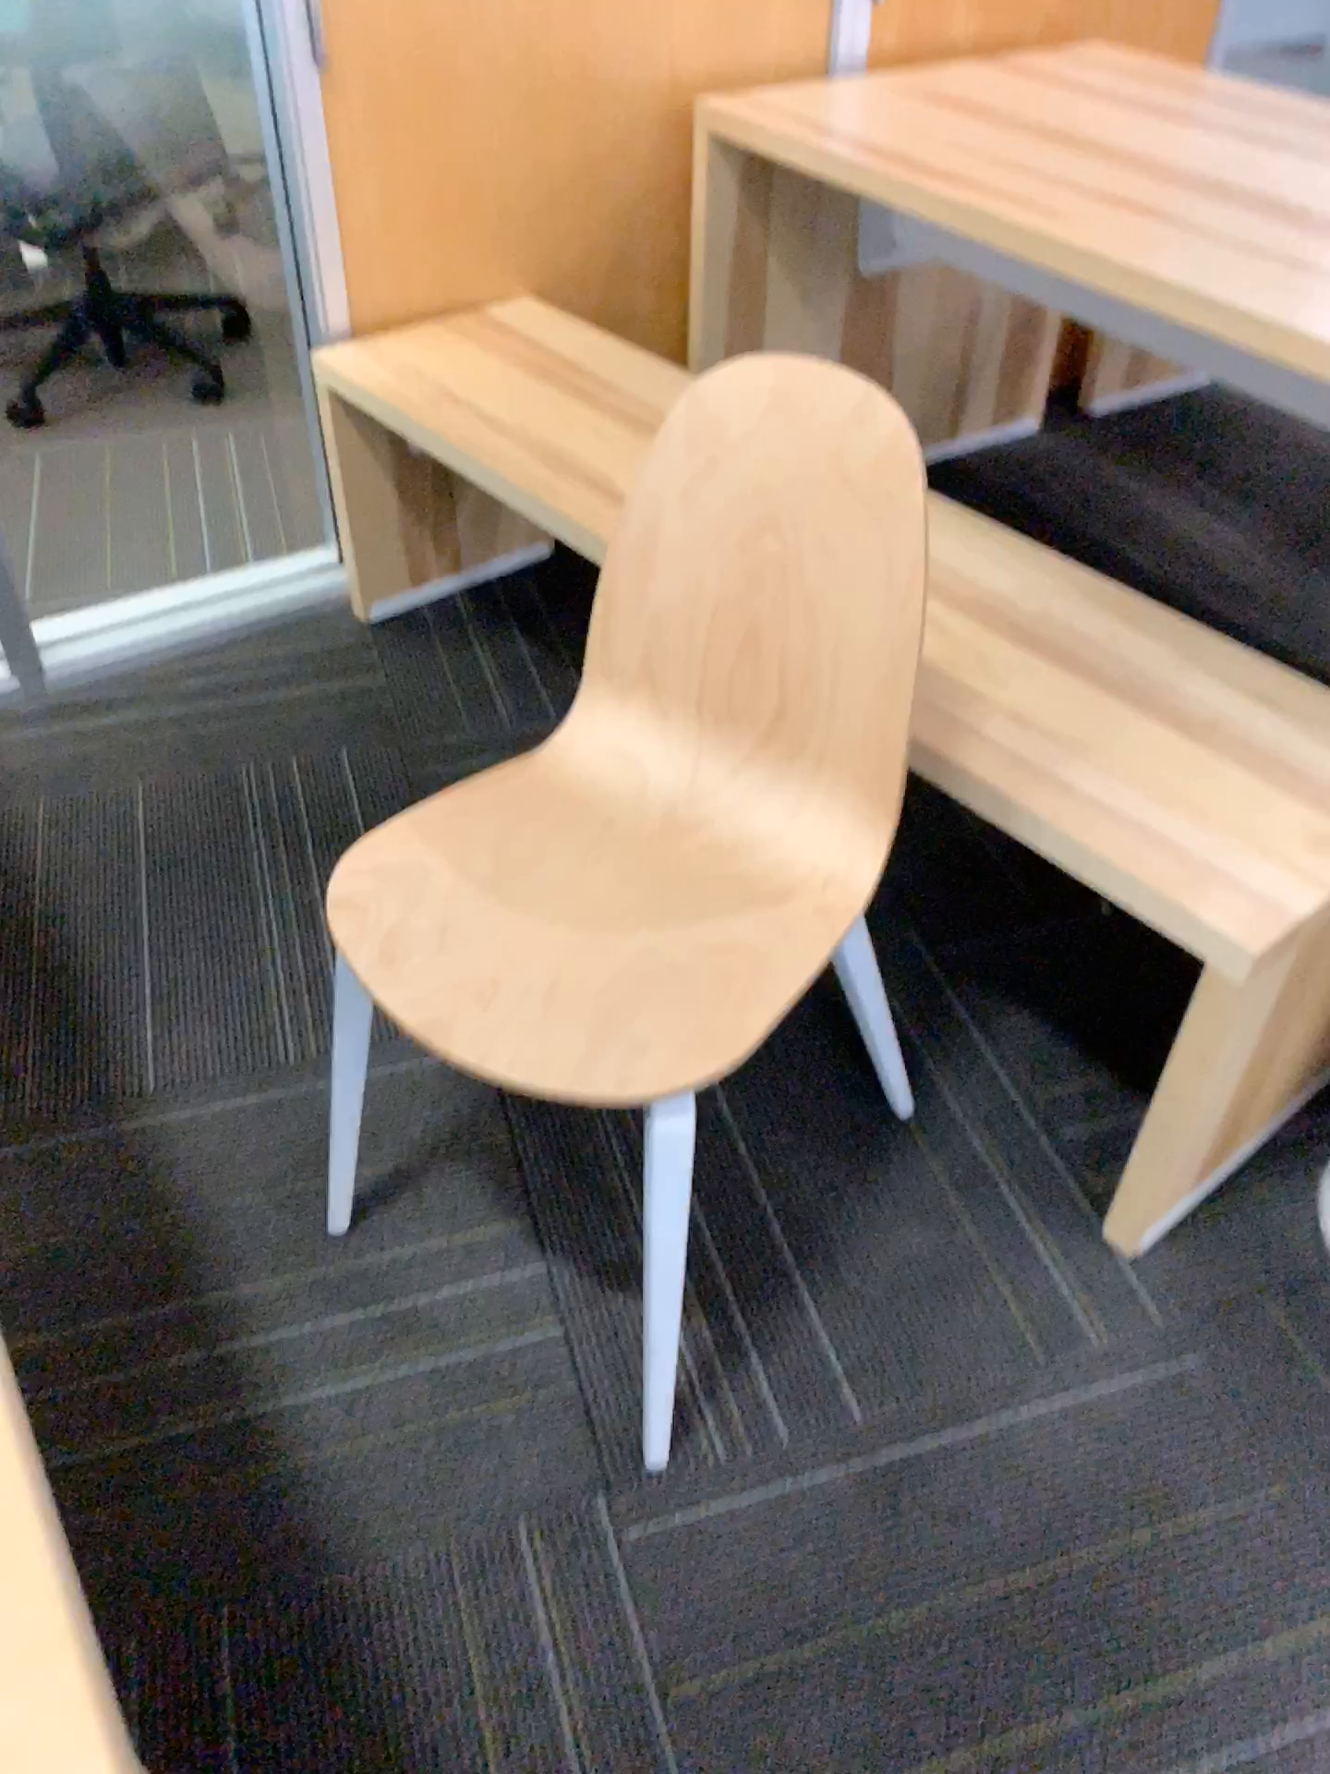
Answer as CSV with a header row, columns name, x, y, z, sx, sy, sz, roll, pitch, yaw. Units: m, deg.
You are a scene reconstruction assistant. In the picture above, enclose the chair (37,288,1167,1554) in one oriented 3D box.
name,x,y,z,sx,sy,sz,roll,pitch,yaw
chair,-0.007,0.004,1.219,0.522,0.766,0.652,24,46,23
